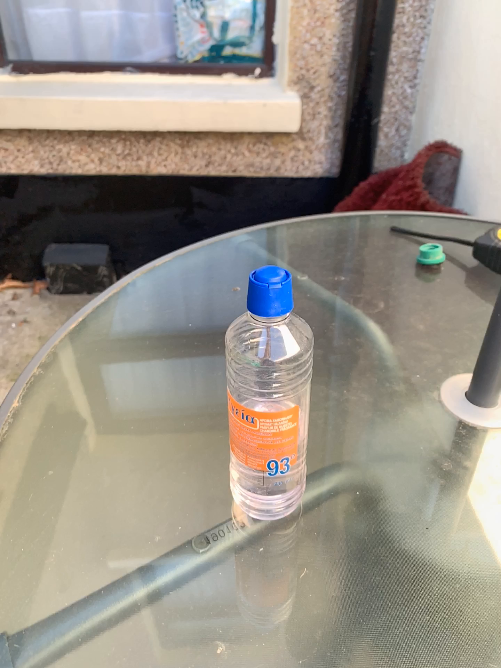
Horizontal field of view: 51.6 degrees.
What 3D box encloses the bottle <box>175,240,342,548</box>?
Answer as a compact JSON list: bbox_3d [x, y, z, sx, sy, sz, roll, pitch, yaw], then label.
[{"bbox_3d":[0.004,0.037,0.296,0.060,0.158,0.060,1,34,-1],"label":"bottle"}]
